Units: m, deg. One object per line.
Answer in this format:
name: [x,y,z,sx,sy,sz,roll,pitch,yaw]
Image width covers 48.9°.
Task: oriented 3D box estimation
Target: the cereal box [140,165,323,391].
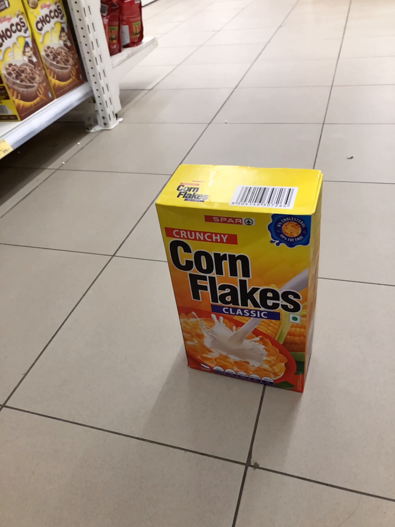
cereal box: [0.060,0.025,0.610,0.200,0.298,0.101,7,39,19]
